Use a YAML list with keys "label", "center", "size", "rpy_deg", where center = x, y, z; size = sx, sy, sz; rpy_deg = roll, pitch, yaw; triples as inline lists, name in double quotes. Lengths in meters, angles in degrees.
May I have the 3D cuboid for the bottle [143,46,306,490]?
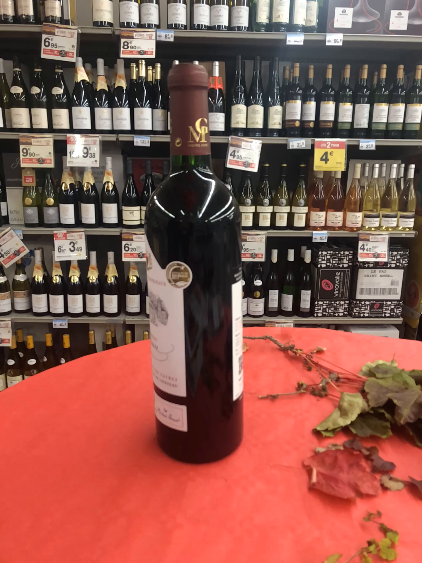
- label: "bottle"
  center: [0.001, -0.004, 0.354]
  size: [0.090, 0.299, 0.090]
  rpy_deg: [1, 16, 0]
